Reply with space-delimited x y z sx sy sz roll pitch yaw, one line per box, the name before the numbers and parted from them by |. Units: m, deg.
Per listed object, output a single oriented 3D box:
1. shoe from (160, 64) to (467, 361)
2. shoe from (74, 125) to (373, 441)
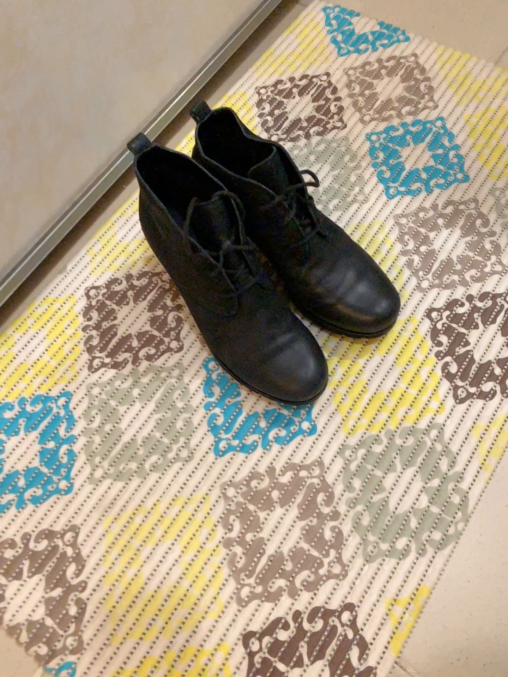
shoe | 0.044 -0.108 0.471 0.230 0.150 0.090 38 74 18
shoe | -0.026 -0.042 0.449 0.090 0.150 0.230 -41 70 -13
